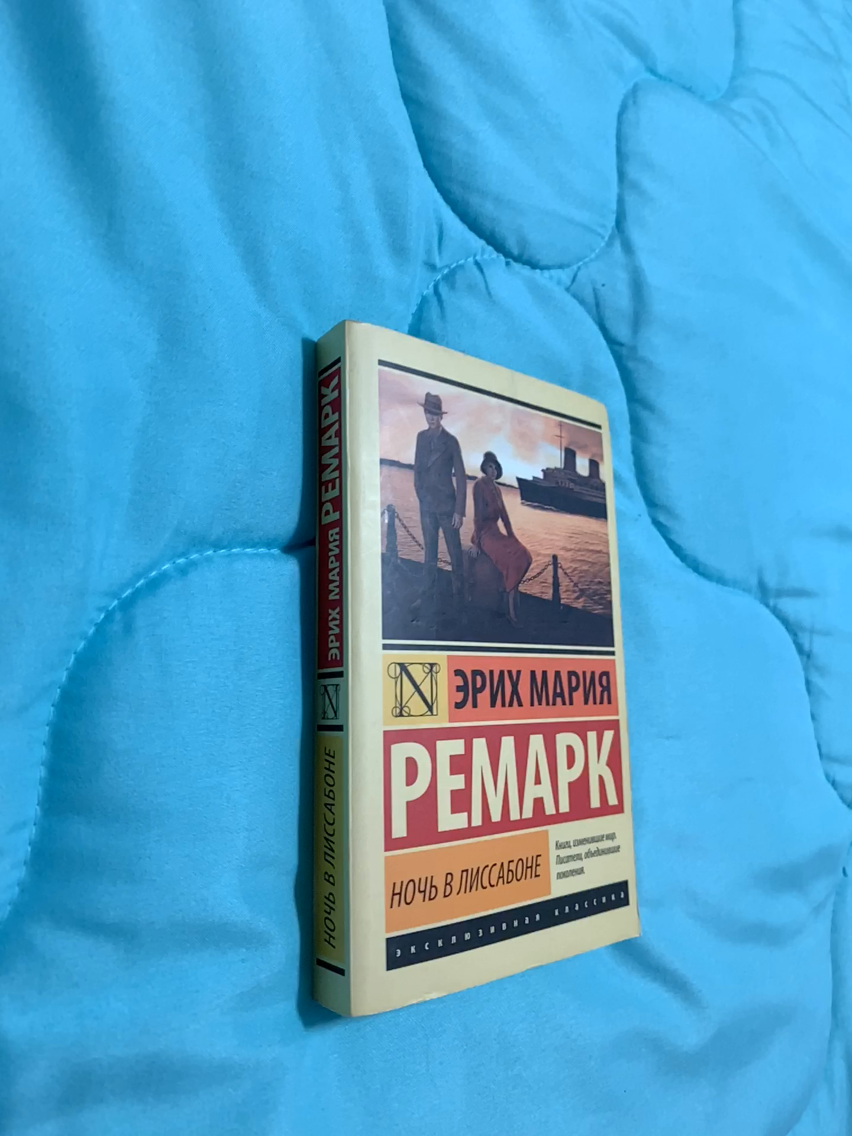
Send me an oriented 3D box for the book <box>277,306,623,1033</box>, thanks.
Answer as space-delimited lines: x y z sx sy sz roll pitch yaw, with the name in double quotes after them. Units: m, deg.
0.012 0.025 0.255 0.113 0.020 0.172 6 80 -42 "book"
